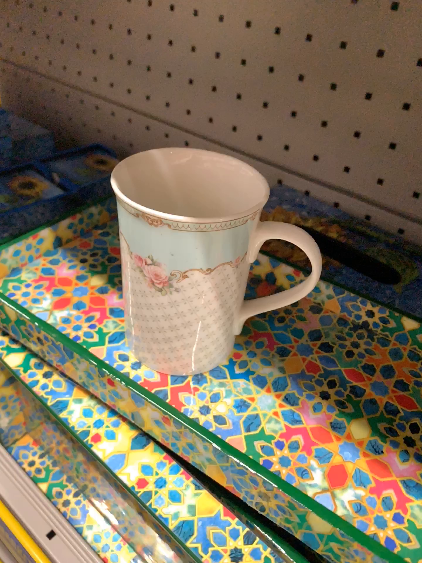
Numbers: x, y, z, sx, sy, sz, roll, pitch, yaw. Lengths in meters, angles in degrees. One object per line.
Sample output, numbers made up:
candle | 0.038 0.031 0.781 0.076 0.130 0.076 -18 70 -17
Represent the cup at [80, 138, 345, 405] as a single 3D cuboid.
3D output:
cup | 0.002 -0.007 0.241 0.110 0.100 0.080 11 37 6
